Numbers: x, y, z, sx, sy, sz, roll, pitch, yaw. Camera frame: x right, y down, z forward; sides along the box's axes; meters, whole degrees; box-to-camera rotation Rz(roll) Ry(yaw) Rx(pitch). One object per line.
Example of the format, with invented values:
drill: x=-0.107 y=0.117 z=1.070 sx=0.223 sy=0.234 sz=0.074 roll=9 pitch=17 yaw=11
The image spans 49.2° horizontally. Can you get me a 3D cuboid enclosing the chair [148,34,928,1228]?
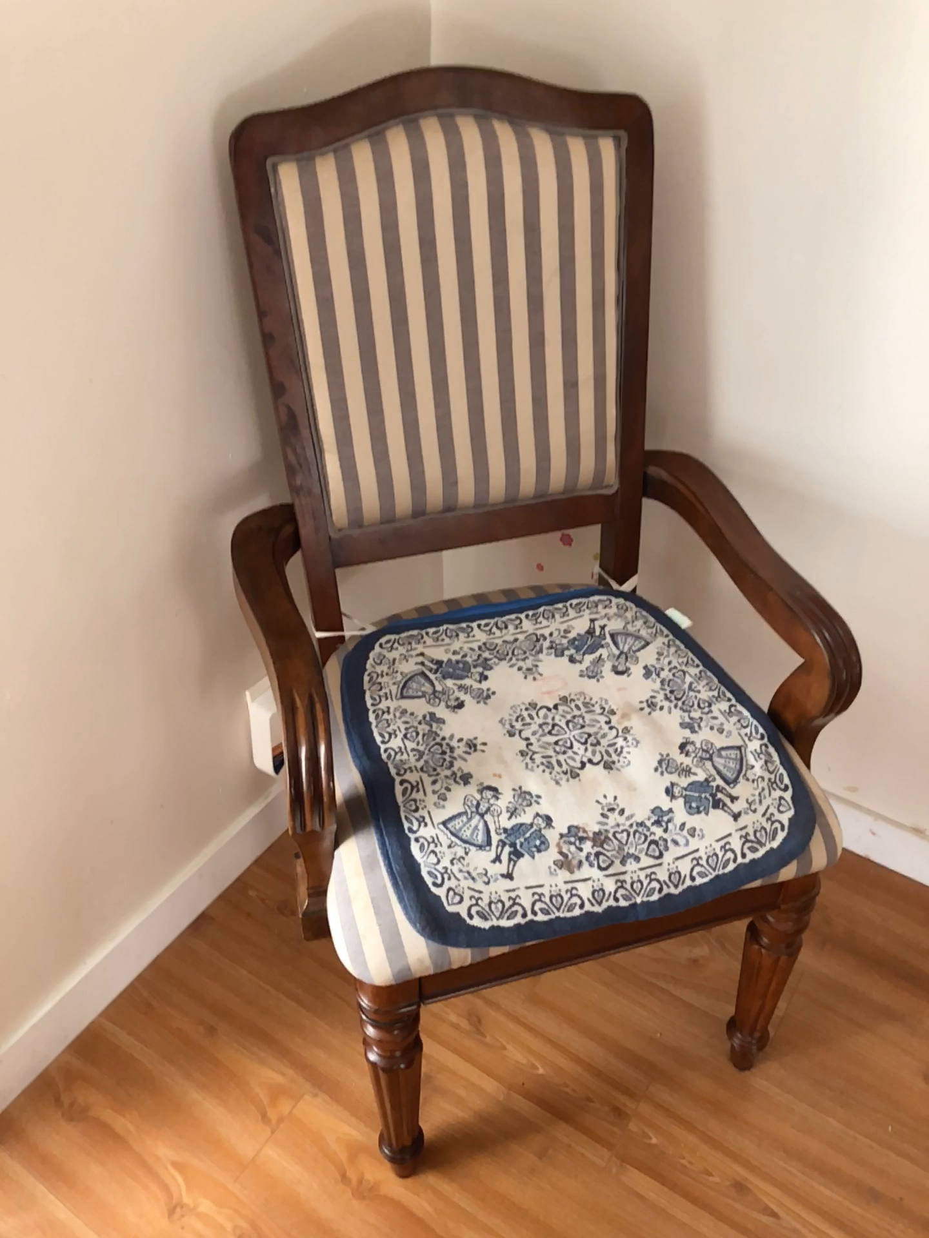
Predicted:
chair: x=0.068 y=0.041 z=1.078 sx=0.530 sy=1.043 sz=0.584 roll=-12 pitch=40 yaw=-14
